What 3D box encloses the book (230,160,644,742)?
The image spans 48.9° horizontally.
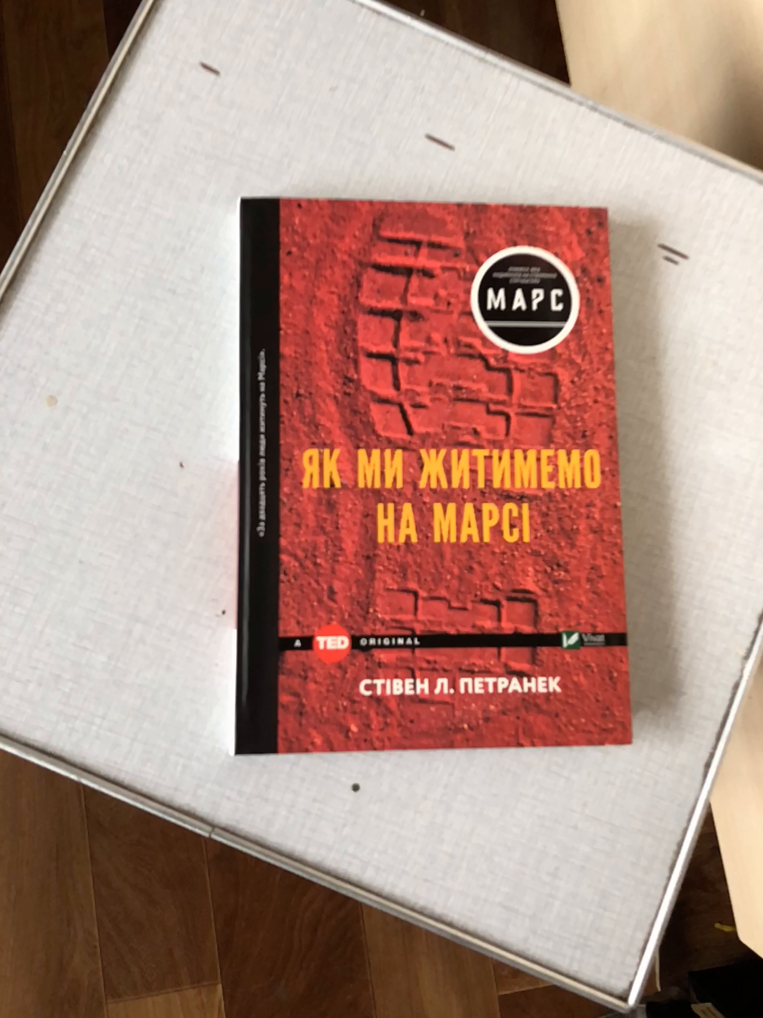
[{"bbox_3d":[0.020,-0.024,0.315,0.146,0.015,0.213,1,83,-3],"label":"book"}]
